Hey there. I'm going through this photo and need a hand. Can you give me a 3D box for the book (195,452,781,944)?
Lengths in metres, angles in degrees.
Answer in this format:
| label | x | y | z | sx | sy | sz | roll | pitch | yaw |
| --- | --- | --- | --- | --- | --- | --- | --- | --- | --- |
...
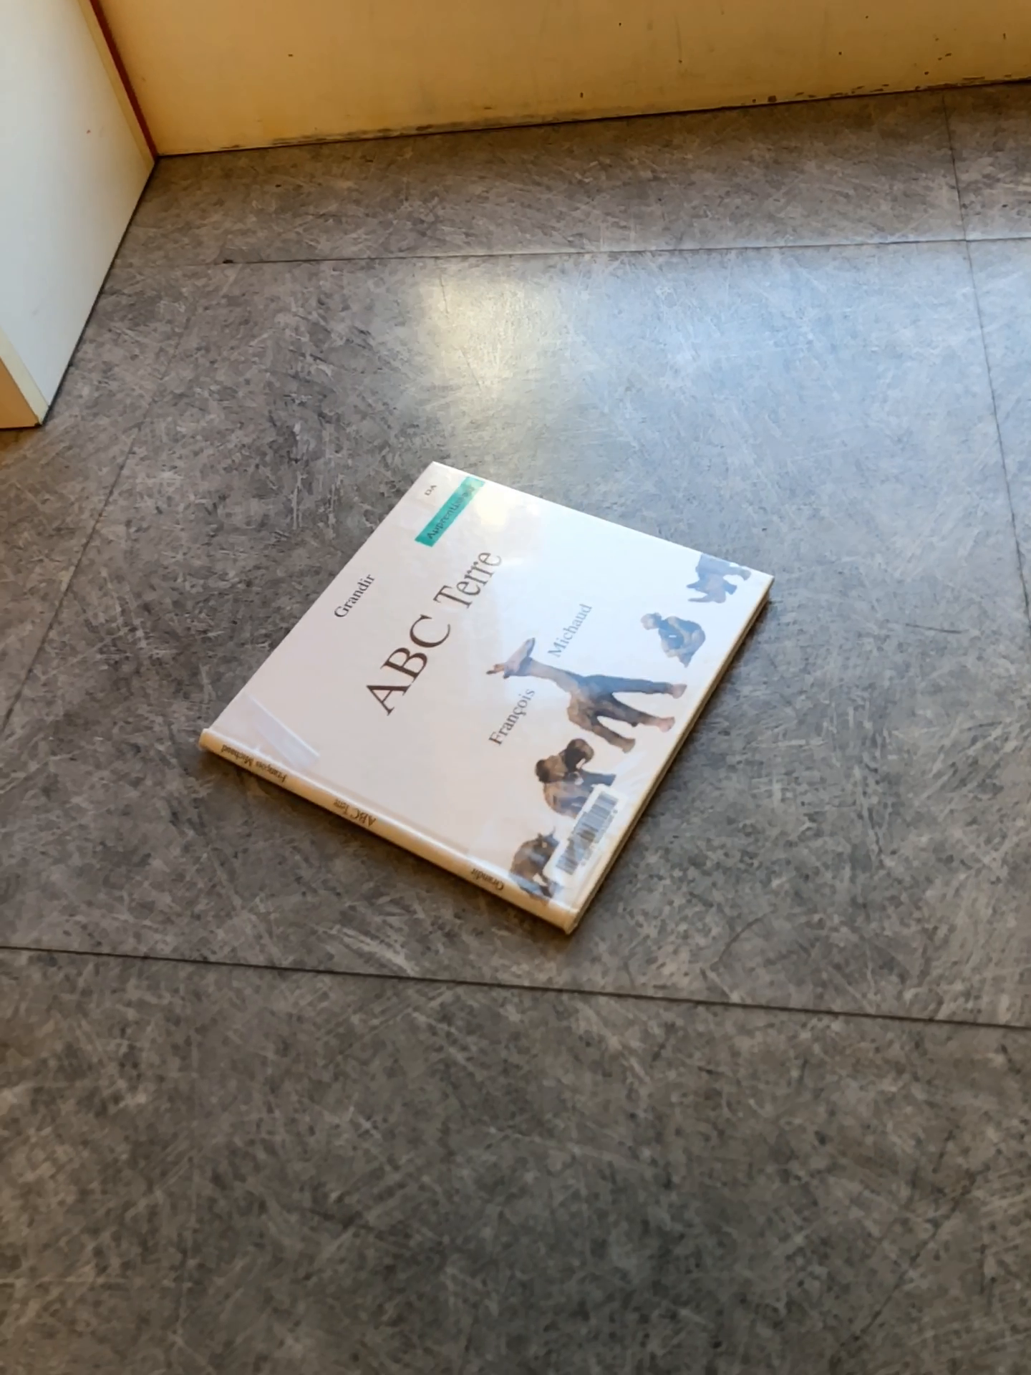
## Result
| label | x | y | z | sx | sy | sz | roll | pitch | yaw |
| --- | --- | --- | --- | --- | --- | --- | --- | --- | --- |
| book | -0.009 | -0.012 | 0.523 | 0.194 | 0.020 | 0.201 | 22 | 60 | 23 |
